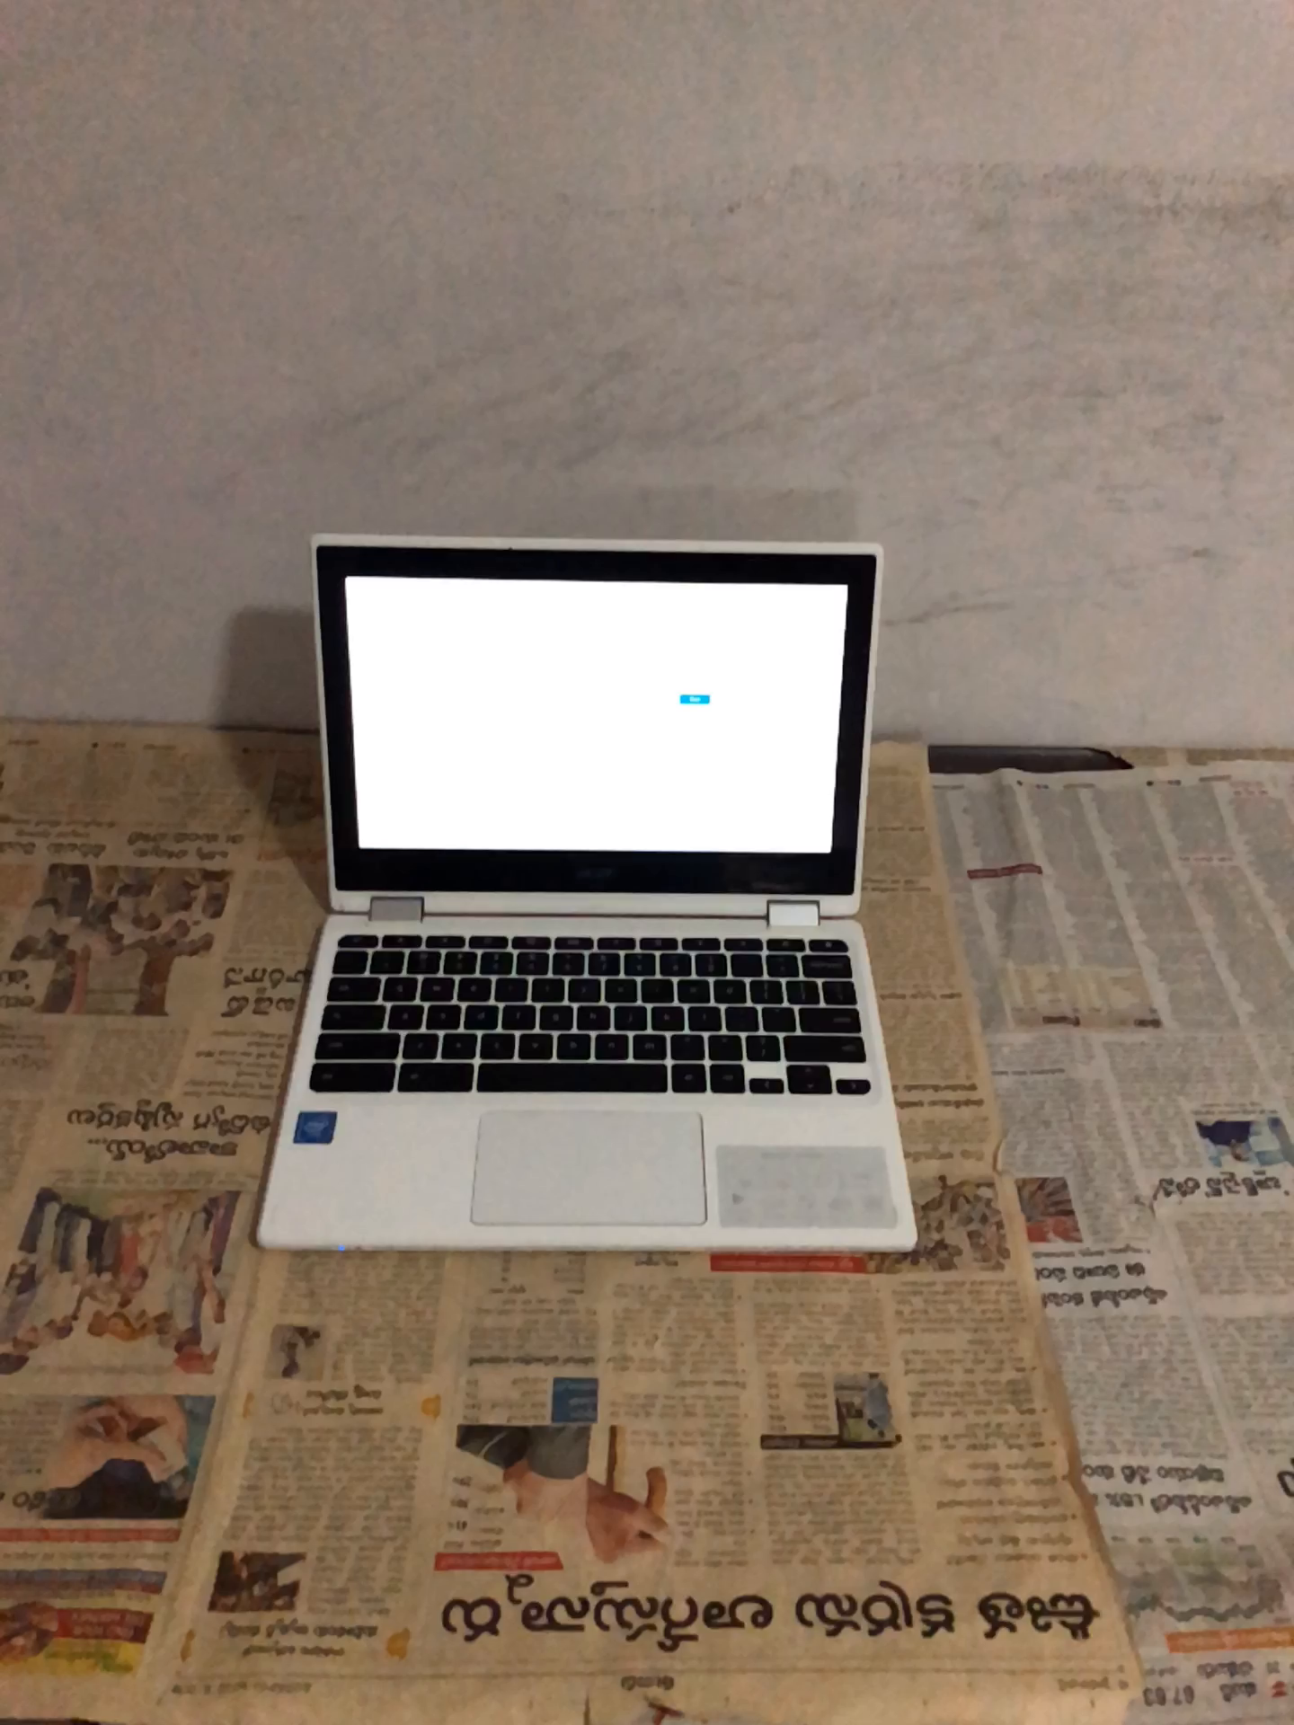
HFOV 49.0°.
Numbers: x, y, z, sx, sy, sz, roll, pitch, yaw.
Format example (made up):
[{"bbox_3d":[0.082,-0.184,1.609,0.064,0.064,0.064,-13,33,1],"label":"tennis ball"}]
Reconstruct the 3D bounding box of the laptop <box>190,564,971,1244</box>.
[{"bbox_3d":[-0.025,0.008,0.650,0.268,0.168,0.279,1,42,-1],"label":"laptop"}]
